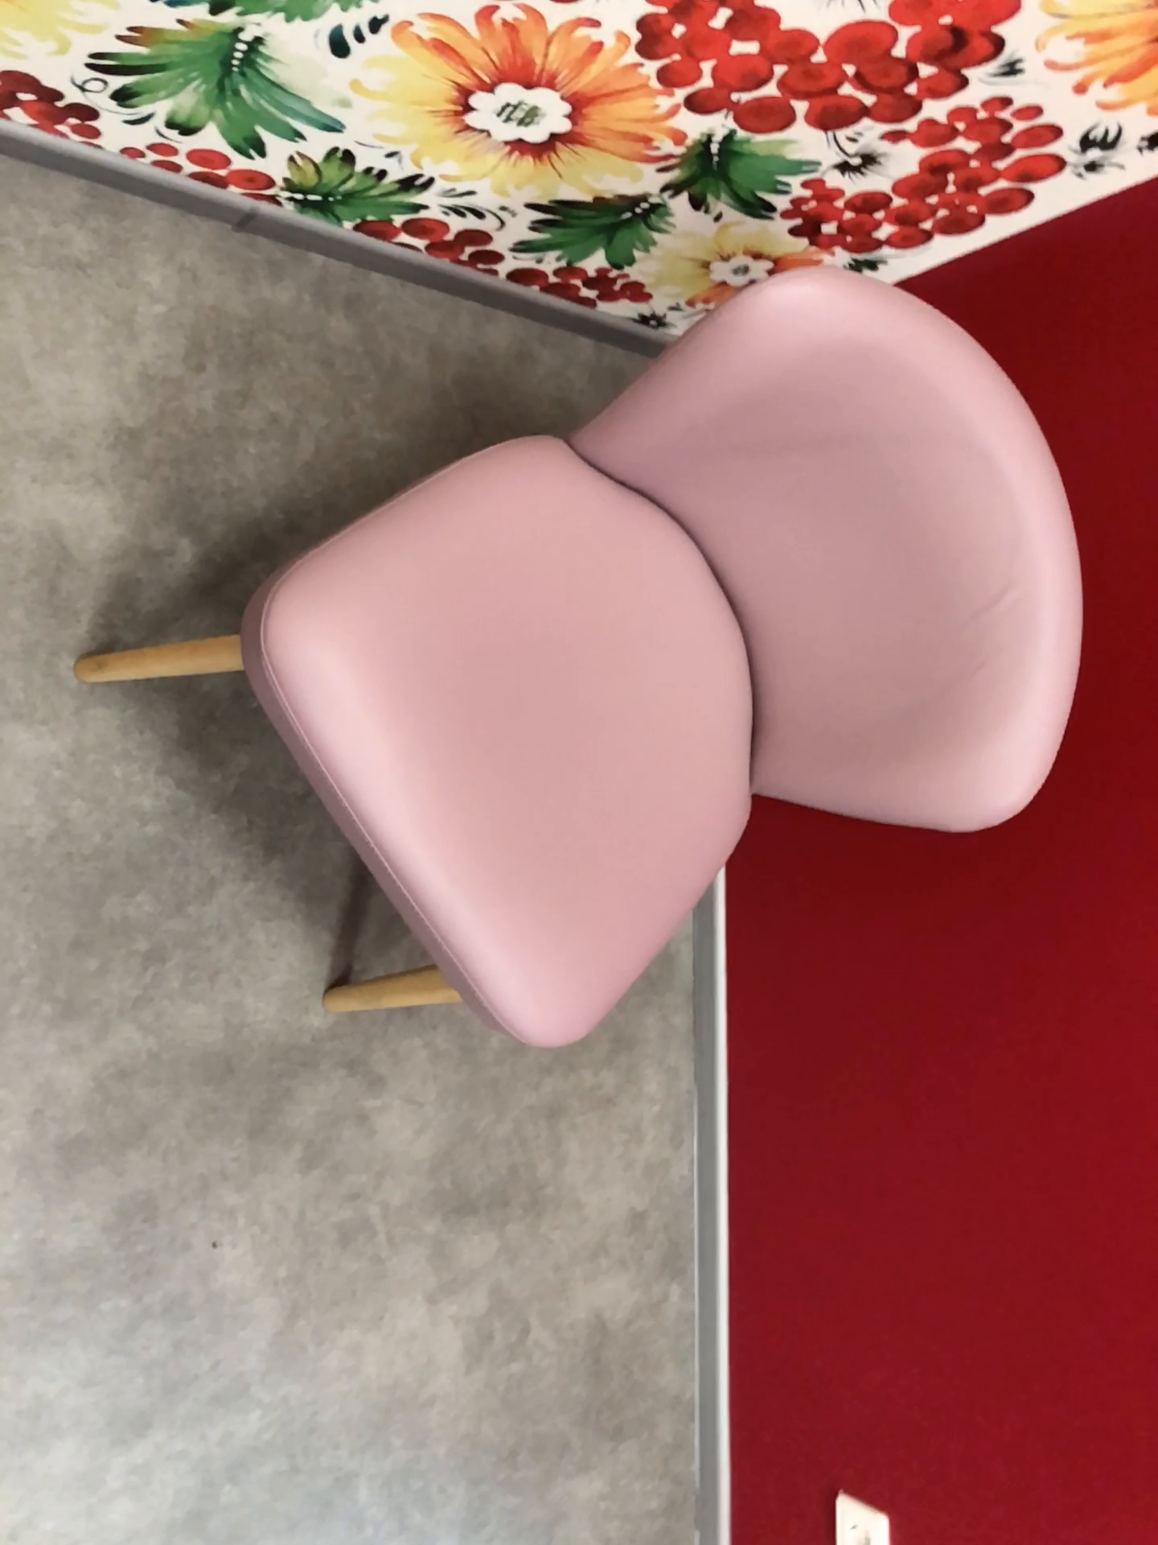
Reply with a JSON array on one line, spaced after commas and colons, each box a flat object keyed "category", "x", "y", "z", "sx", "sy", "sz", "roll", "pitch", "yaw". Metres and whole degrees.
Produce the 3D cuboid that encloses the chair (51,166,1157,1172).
[{"category": "chair", "x": -0.006, "y": -0.079, "z": 1.224, "sx": 0.542, "sy": 0.786, "sz": 0.510, "roll": -44, "pitch": 114, "yaw": -31}]
